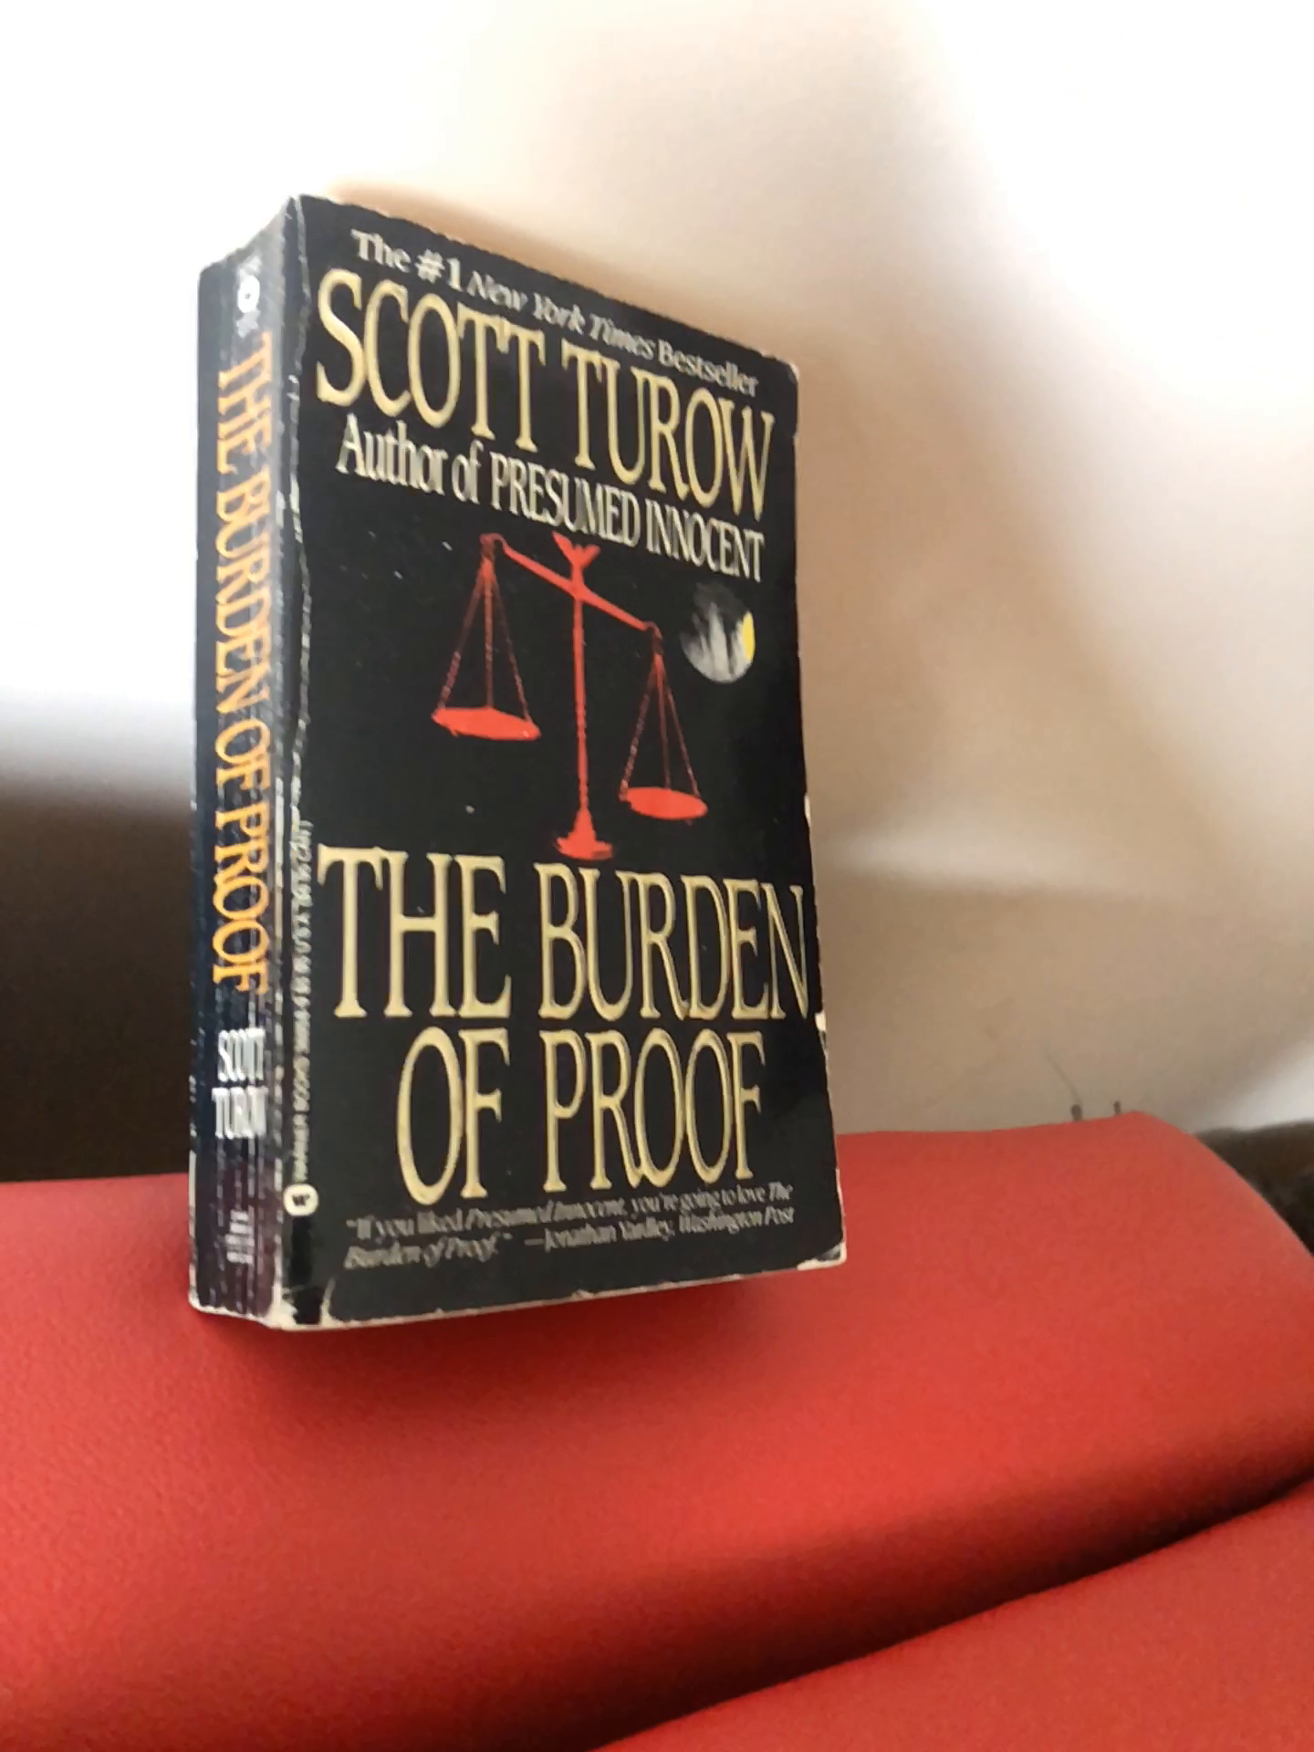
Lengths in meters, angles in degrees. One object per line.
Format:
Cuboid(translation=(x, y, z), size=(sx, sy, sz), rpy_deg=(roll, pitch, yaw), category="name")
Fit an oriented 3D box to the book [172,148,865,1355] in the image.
Cuboid(translation=(-0.022, -0.016, 0.253), size=(0.106, 0.045, 0.171), rpy_deg=(5, 79, -39), category="book")
